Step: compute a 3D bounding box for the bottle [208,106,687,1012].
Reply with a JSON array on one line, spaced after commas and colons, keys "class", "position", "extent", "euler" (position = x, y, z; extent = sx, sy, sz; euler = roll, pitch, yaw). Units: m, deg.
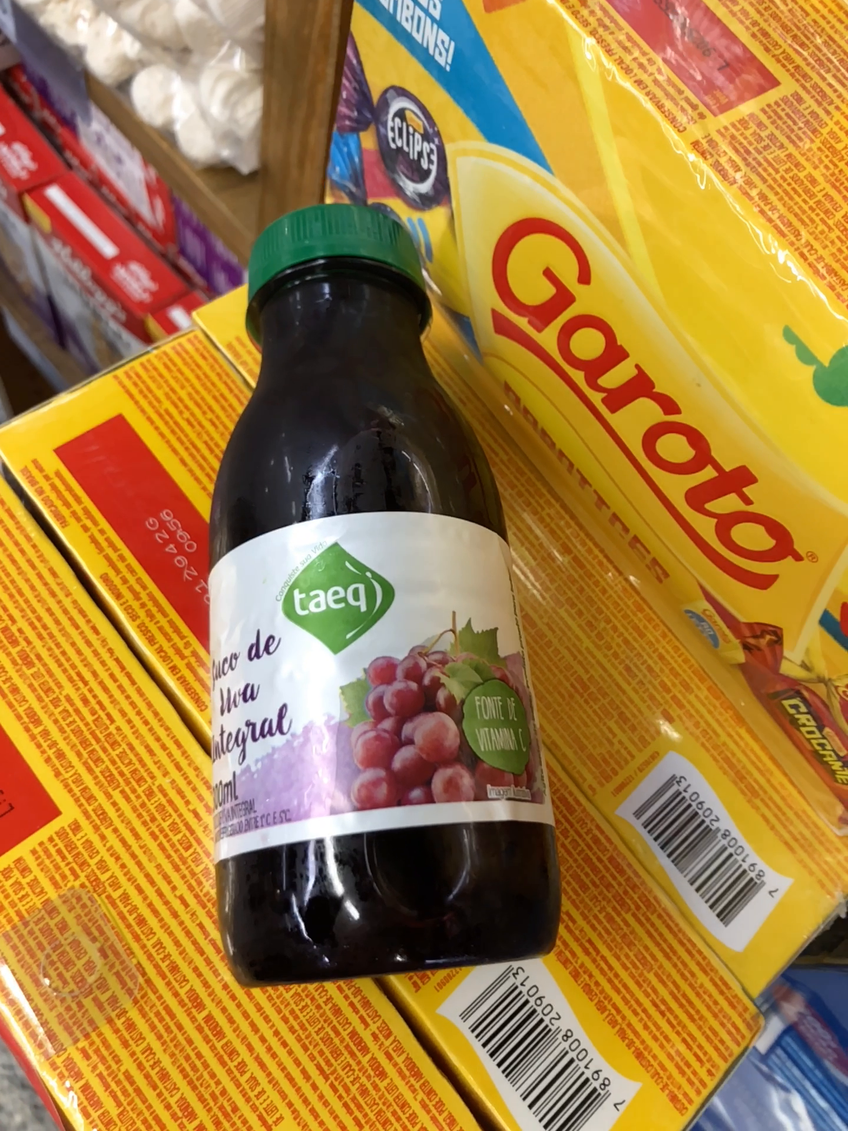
[{"class": "bottle", "position": [-0.007, -0.007, 0.194], "extent": [0.070, 0.050, 0.171], "euler": [0, 66, -13]}]
